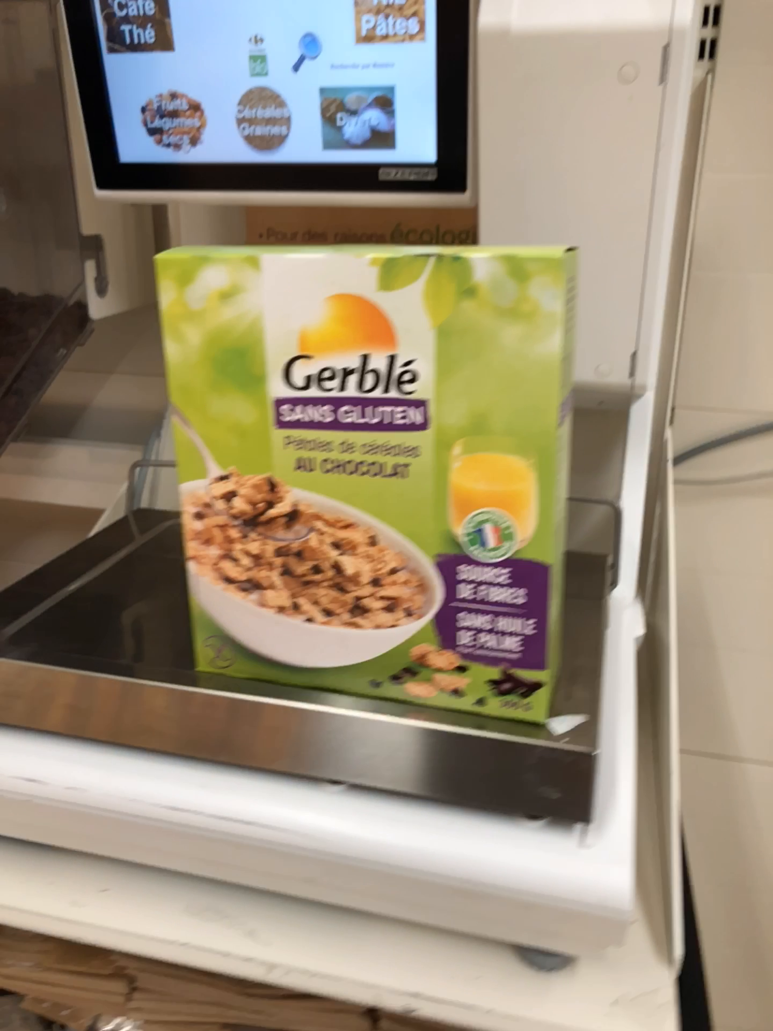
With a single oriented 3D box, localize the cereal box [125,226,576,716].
[{"bbox_3d":[-0.014,-0.026,0.429,0.200,0.219,0.060,4,20,18],"label":"cereal box"}]
